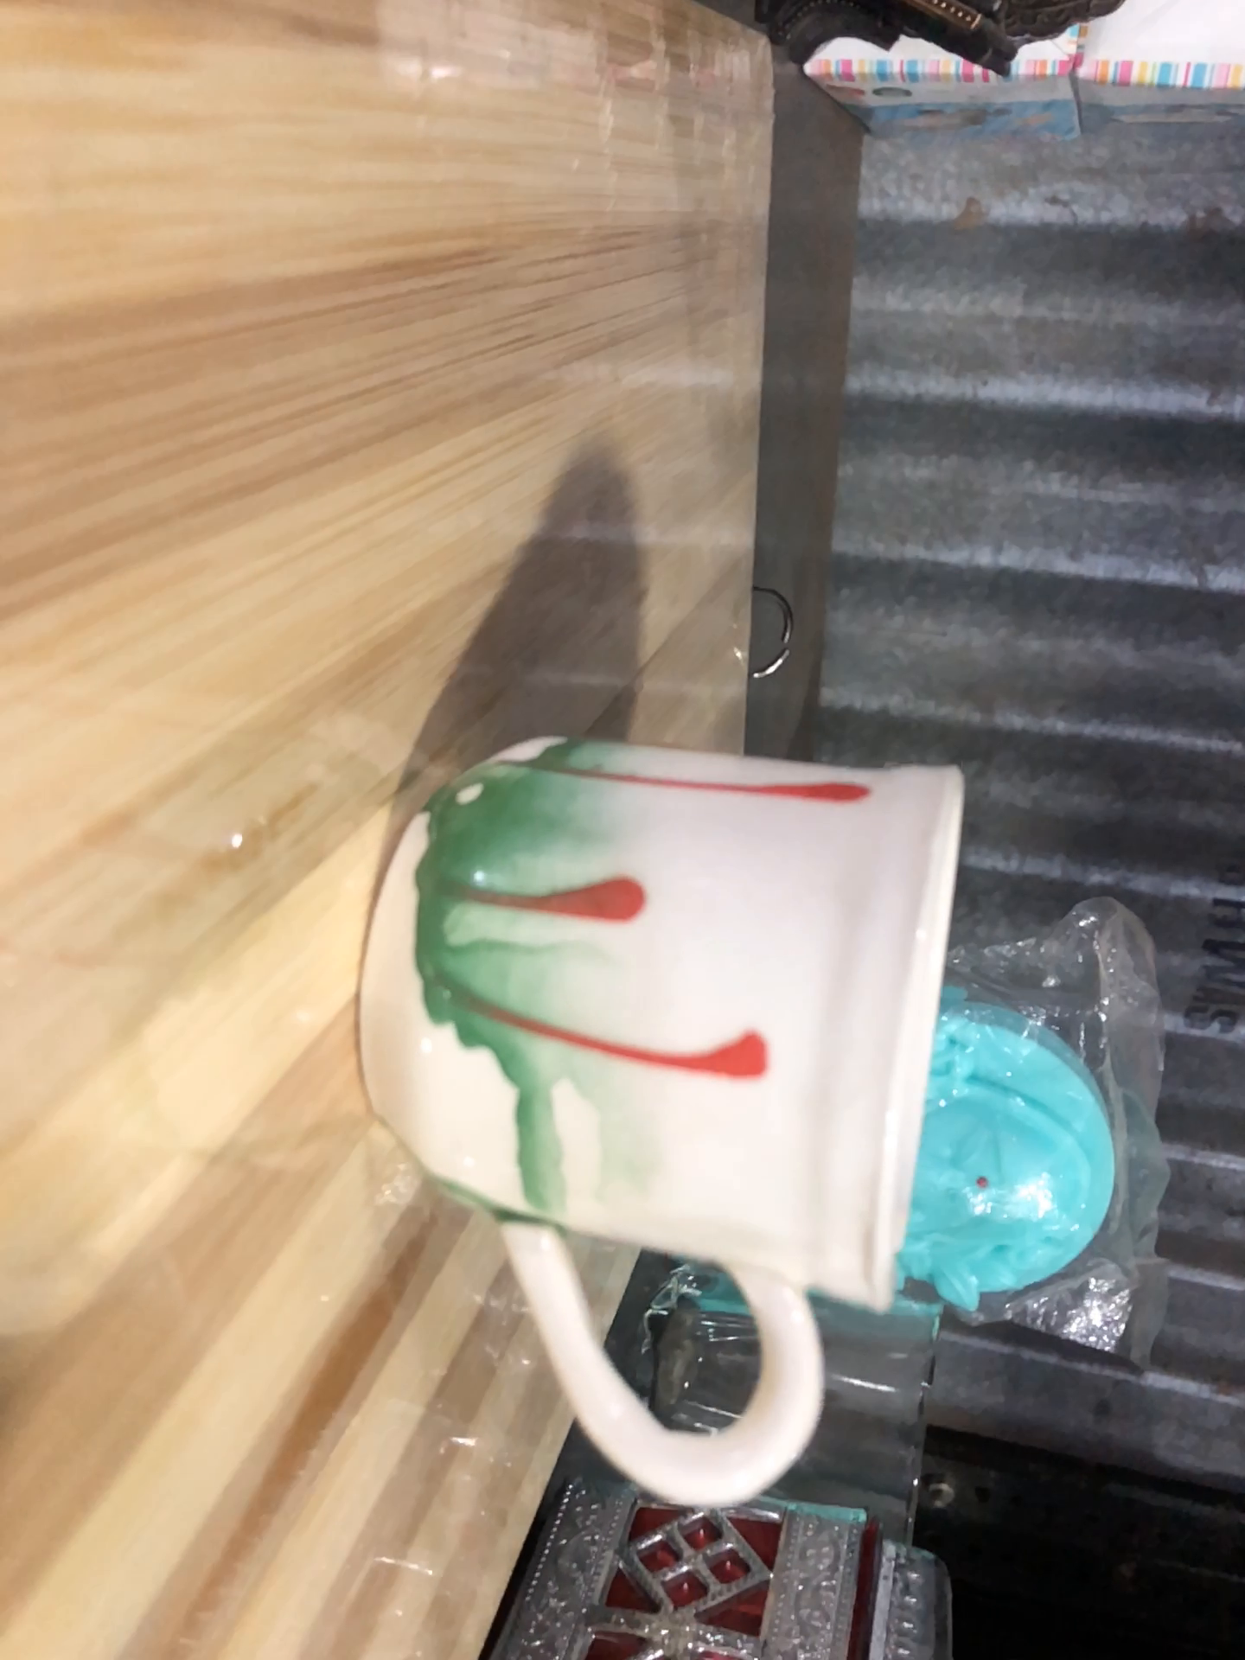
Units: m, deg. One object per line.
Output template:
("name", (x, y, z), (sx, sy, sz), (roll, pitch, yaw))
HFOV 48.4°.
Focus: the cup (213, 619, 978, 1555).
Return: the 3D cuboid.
("cup", (0.005, 0.032, 0.189), (0.080, 0.070, 0.090), (50, 49, -73))
